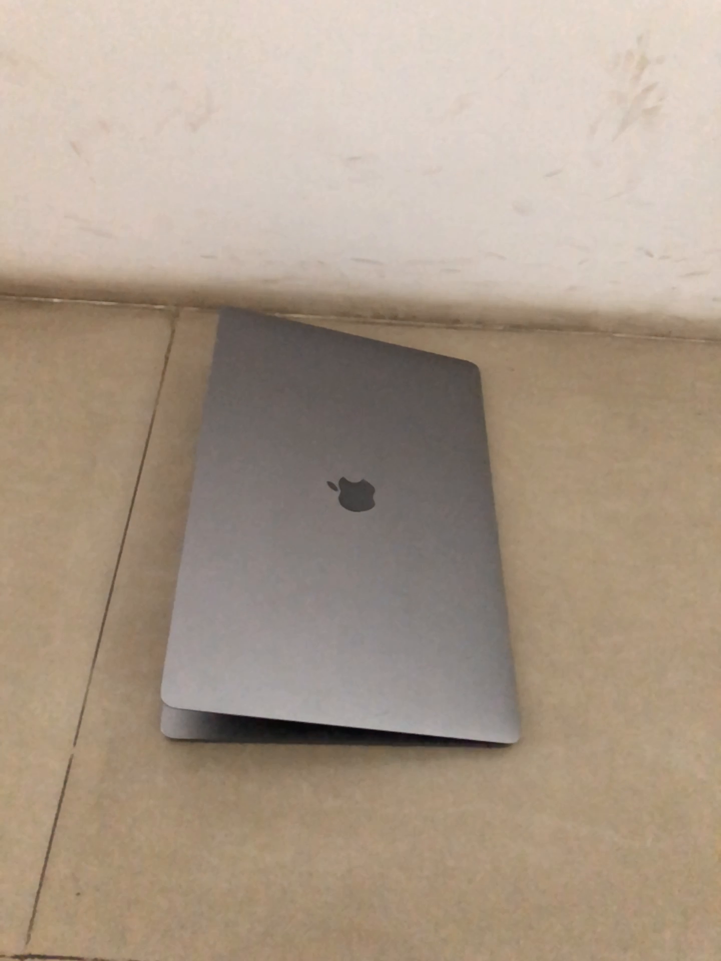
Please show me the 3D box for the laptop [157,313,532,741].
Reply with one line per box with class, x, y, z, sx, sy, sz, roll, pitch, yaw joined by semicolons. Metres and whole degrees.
laptop;-0.007;0.016;0.611;0.232;0.057;0.336;3;55;-2
